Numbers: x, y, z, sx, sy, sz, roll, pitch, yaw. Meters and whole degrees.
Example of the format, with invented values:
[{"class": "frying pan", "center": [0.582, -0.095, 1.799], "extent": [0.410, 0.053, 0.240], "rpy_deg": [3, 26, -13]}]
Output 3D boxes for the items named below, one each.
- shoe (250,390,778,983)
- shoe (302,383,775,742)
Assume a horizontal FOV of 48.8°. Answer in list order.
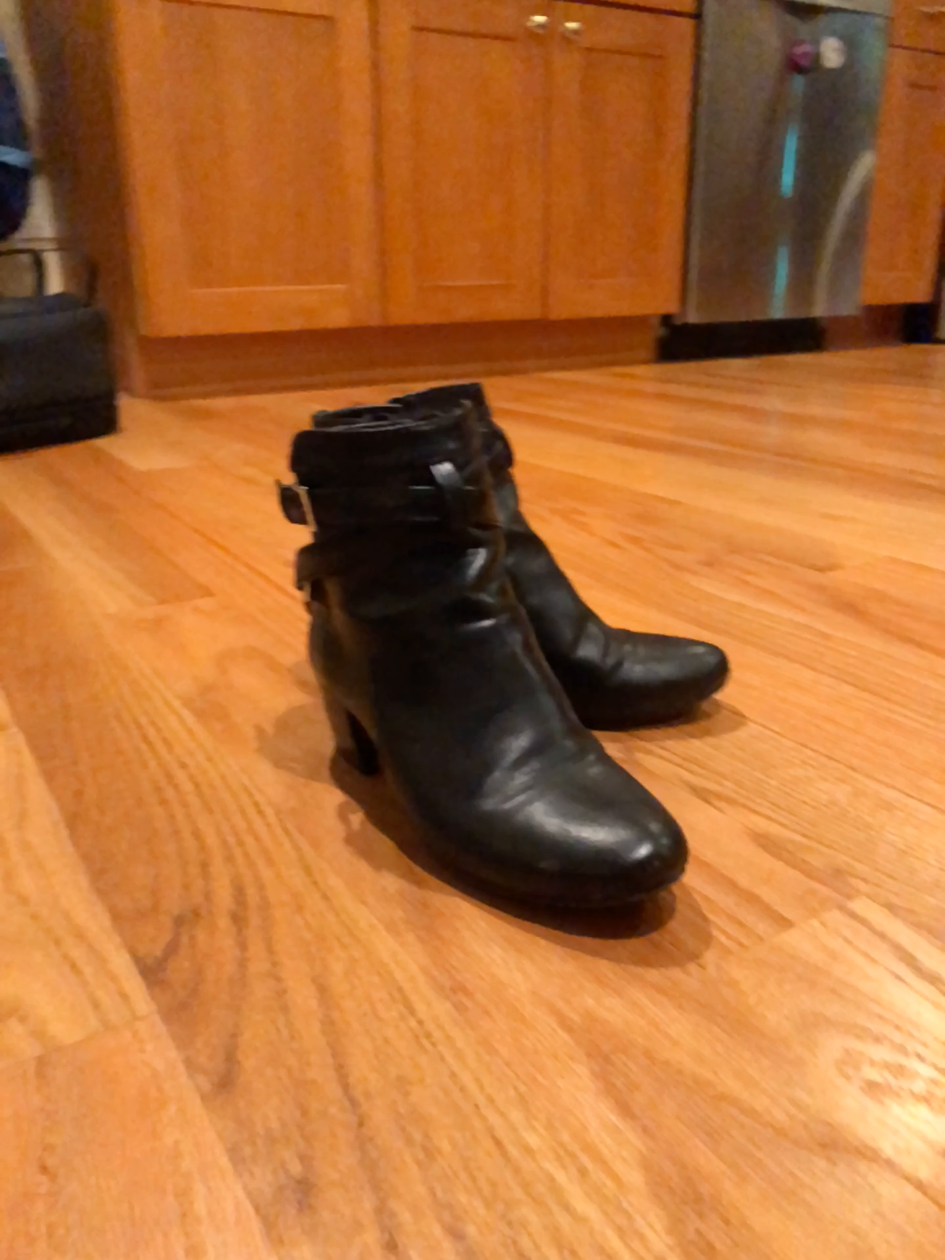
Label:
[{"class": "shoe", "center": [0.001, -0.001, 0.437], "extent": [0.090, 0.172, 0.227], "rpy_deg": [-13, 22, -33]}, {"class": "shoe", "center": [0.035, -0.042, 0.567], "extent": [0.226, 0.172, 0.091], "rpy_deg": [2, 18, 7]}]
